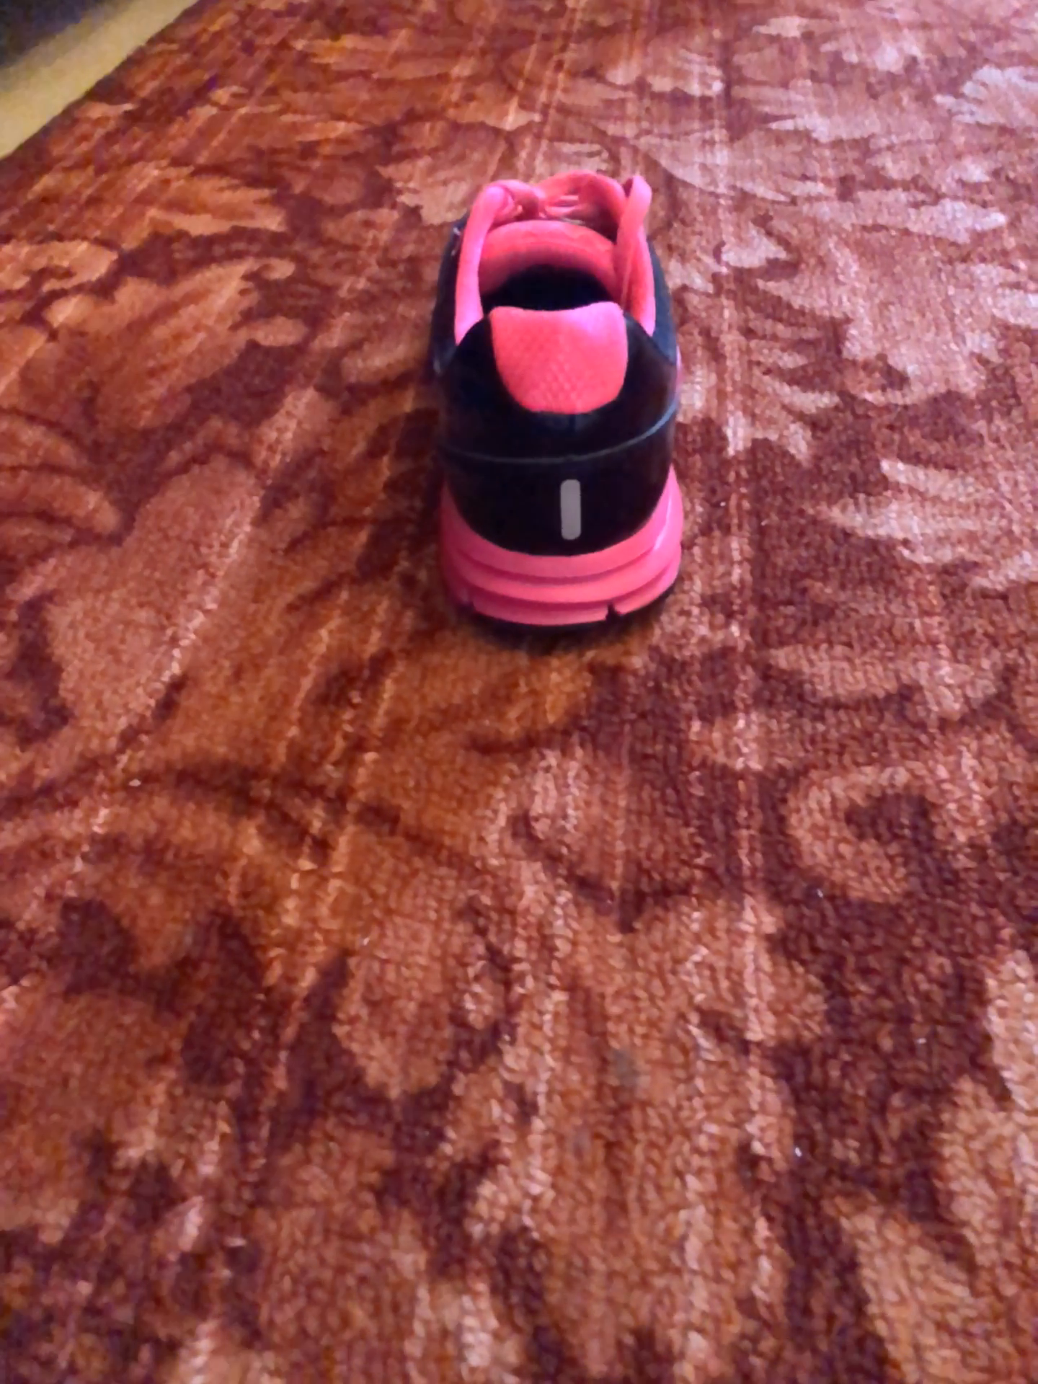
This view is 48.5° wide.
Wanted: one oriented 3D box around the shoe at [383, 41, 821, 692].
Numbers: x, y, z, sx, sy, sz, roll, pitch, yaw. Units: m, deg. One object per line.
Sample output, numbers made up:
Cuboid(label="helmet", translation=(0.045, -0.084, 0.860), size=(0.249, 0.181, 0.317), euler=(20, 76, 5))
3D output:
Cuboid(label="shoe", translation=(0.021, -0.124, 0.389), size=(0.100, 0.109, 0.241), euler=(-1, 43, 1))
